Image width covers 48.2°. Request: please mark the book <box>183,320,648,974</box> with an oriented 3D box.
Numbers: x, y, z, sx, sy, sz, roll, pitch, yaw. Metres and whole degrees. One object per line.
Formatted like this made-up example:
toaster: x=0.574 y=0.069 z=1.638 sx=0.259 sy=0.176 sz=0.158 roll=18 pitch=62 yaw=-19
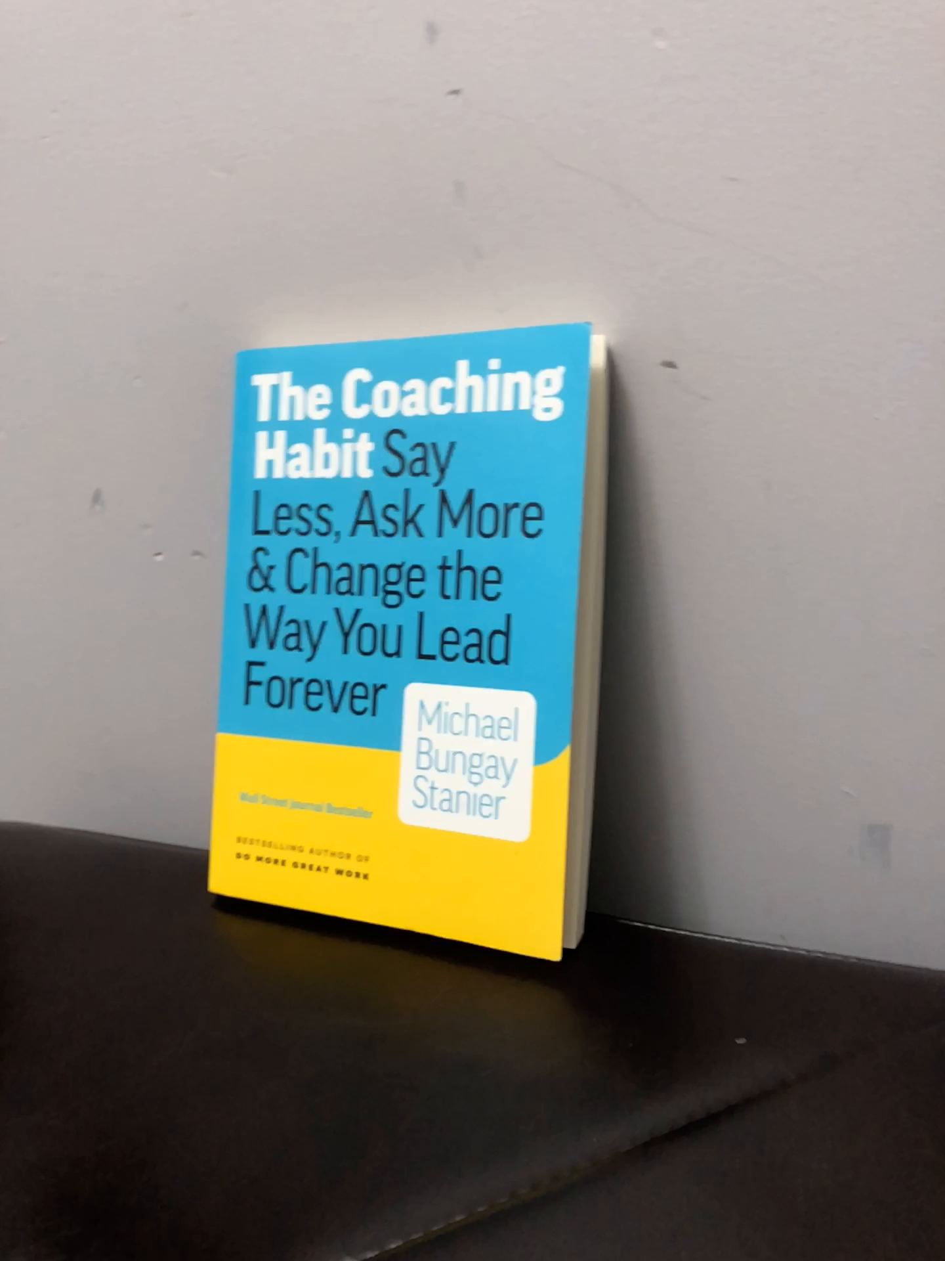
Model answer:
book: x=-0.022 y=0.000 z=0.359 sx=0.145 sy=0.196 sz=0.030 roll=4 pitch=-2 yaw=25
